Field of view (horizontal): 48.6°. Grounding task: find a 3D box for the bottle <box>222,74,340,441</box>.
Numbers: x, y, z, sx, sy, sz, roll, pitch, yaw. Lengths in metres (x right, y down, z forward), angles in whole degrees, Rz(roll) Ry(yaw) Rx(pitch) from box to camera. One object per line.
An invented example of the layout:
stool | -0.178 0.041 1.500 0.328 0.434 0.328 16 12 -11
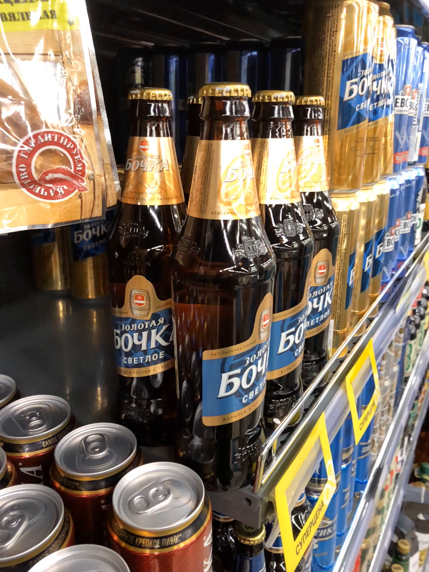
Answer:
bottle | 0.045 -0.017 0.333 0.060 0.234 0.070 6 19 16

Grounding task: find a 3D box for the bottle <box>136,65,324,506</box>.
bottle | 0.008 0.001 0.286 0.070 0.234 0.070 0 19 0
